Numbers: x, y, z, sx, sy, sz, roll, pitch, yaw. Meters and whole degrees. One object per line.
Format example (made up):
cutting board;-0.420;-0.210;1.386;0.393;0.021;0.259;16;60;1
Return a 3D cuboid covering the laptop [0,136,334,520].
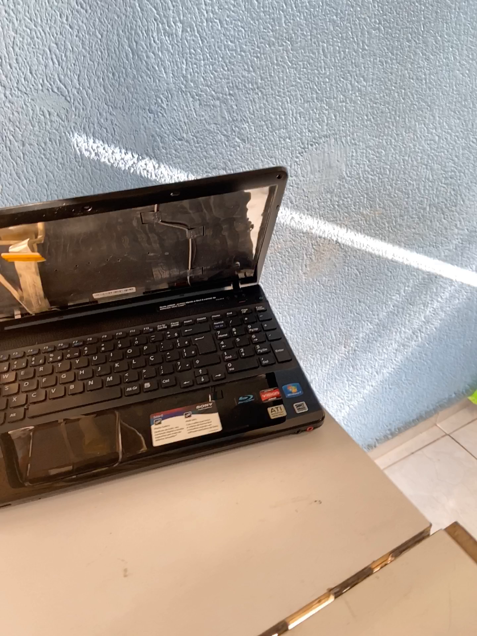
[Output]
laptop;-0.128;-0.016;0.479;0.364;0.193;0.243;-11;38;-9
